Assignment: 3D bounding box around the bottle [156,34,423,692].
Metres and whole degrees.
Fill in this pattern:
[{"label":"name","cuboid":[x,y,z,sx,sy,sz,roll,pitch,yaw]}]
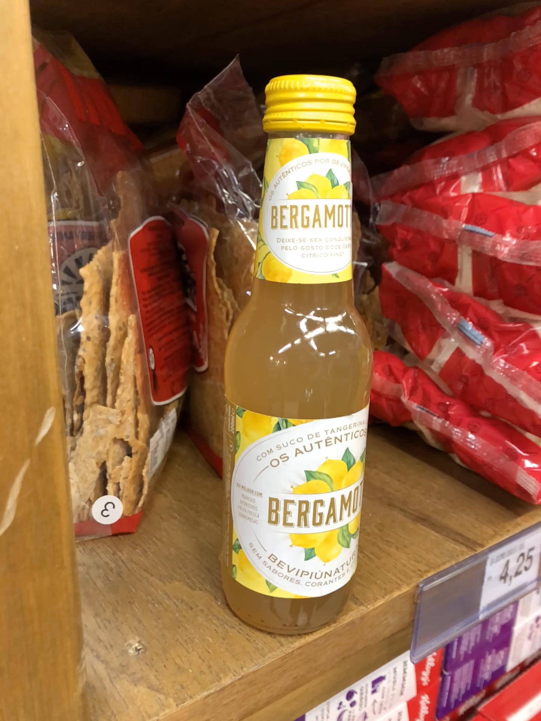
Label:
[{"label":"bottle","cuboid":[0.001,0.003,0.217,0.060,0.199,0.060,2,15,-1]}]
